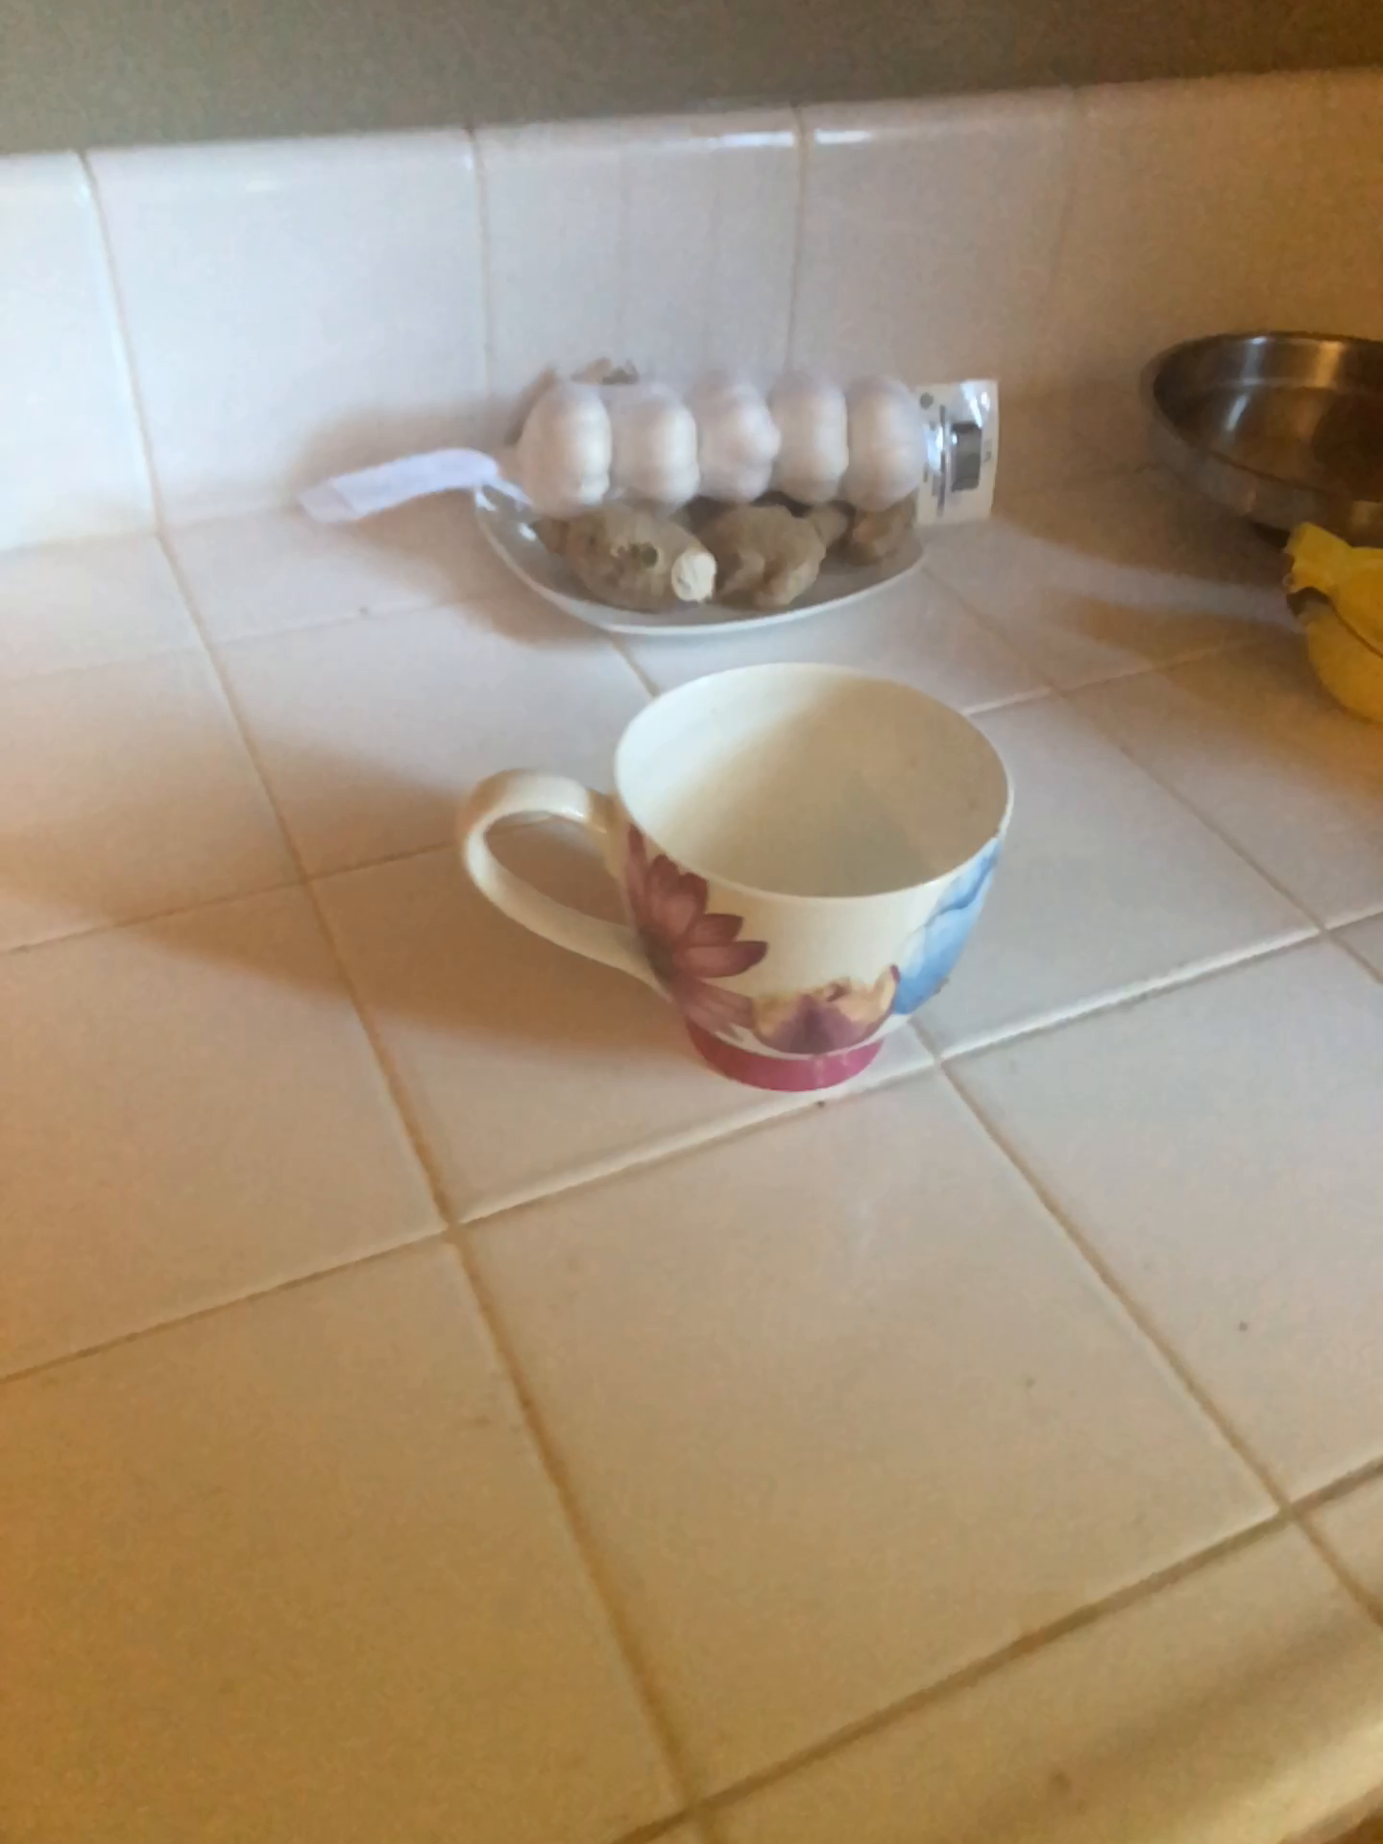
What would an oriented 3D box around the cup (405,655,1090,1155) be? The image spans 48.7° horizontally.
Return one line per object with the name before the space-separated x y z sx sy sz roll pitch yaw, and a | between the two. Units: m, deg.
cup | 0.008 -0.008 0.442 0.170 0.089 0.101 -4 43 -9
